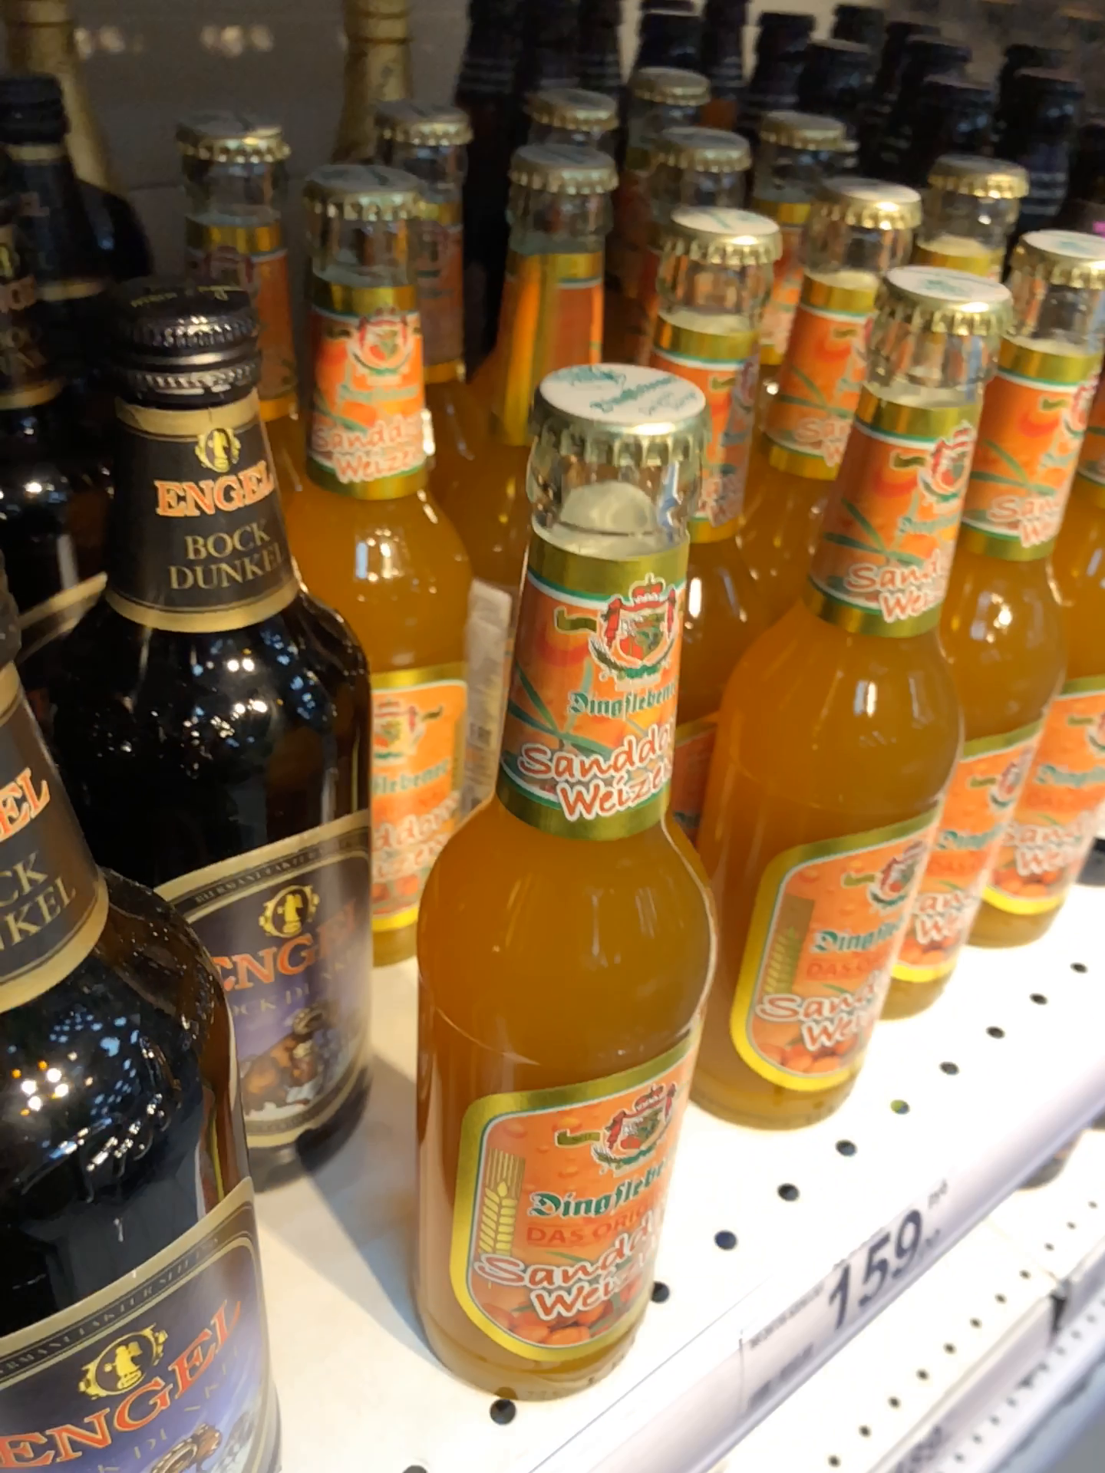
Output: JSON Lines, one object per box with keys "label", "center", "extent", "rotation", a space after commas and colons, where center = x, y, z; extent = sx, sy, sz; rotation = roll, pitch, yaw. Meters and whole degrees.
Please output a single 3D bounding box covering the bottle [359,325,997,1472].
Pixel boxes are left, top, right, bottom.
{"label": "bottle", "center": [0.009, 0.045, 0.242], "extent": [0.070, 0.225, 0.060], "rotation": [-18, 41, -30]}
